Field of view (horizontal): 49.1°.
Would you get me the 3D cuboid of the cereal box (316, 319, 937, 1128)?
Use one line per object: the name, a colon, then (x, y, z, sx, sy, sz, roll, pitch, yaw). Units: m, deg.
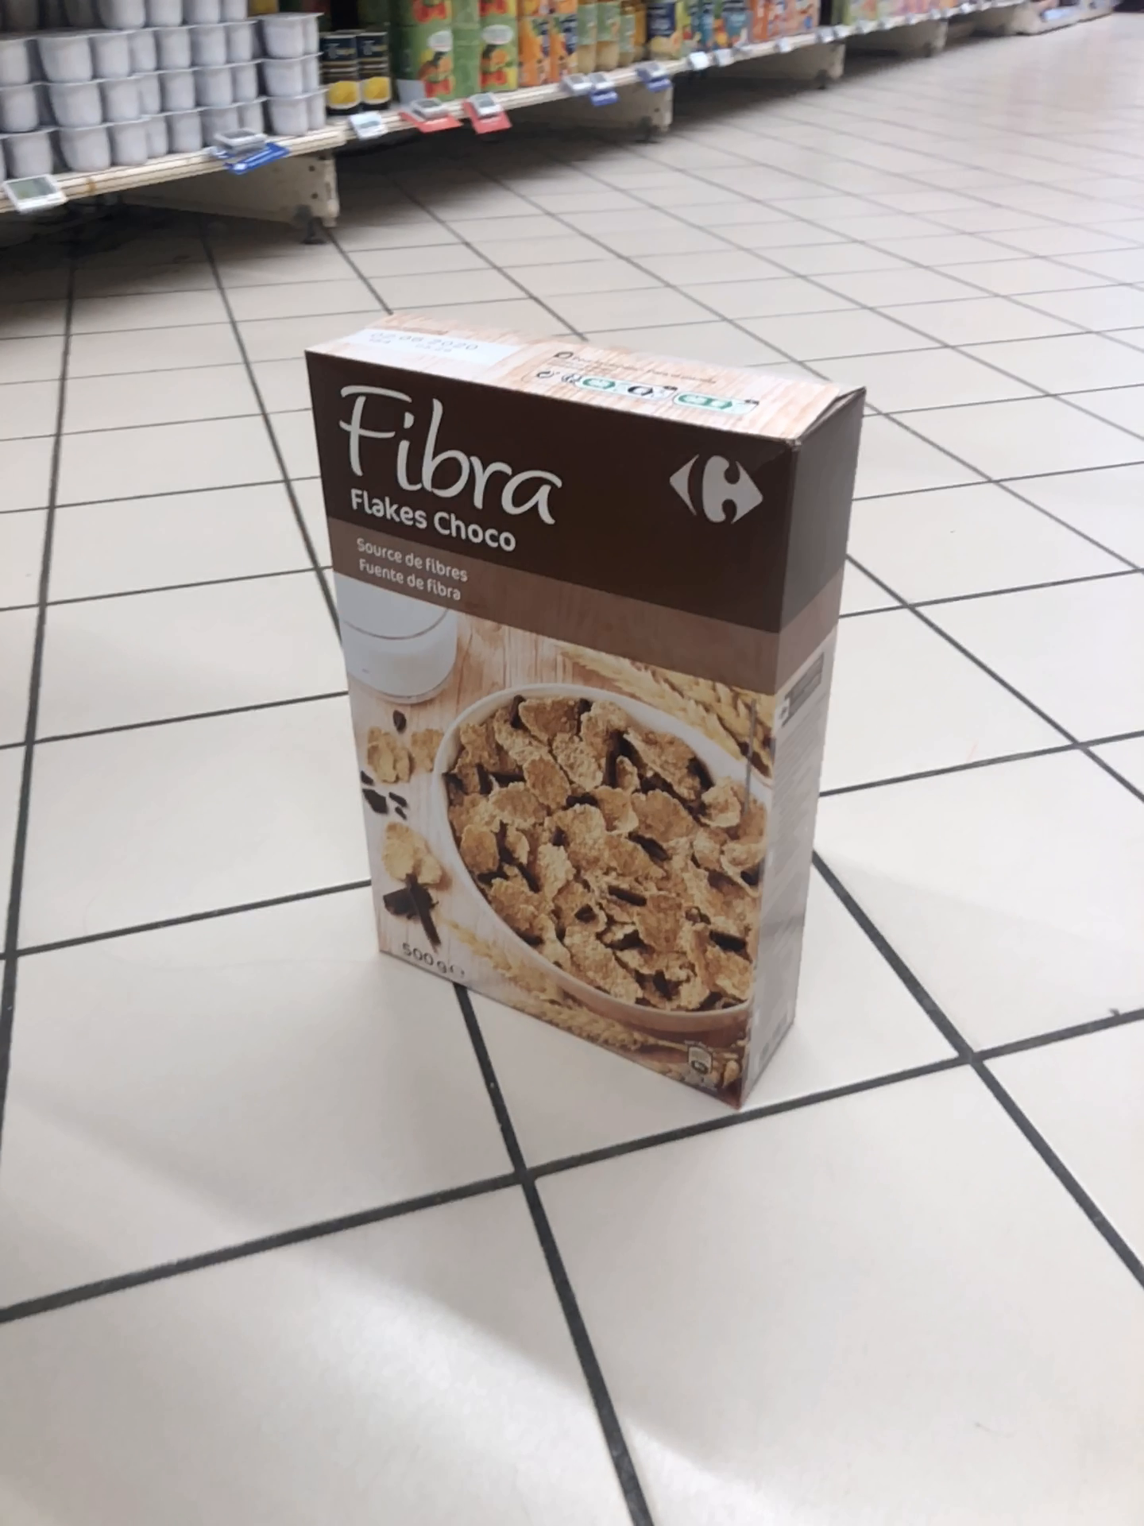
cereal box: (0.016, -0.013, 0.499, 0.200, 0.278, 0.070, 17, 37, 26)
